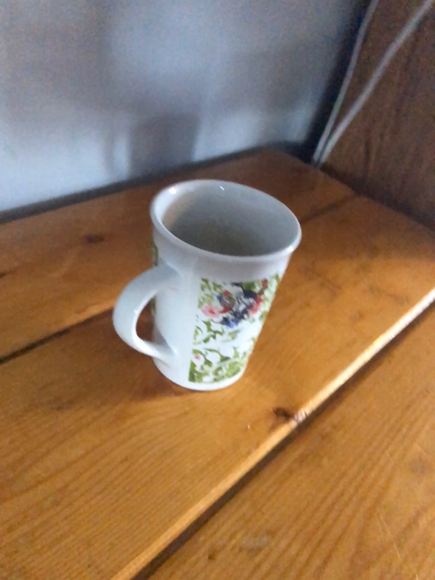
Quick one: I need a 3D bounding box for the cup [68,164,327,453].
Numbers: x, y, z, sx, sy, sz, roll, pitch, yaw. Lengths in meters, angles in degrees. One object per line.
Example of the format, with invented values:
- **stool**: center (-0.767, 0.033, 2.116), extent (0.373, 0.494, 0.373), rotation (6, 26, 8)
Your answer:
- **cup**: center (-0.016, 0.005, 0.321), extent (0.090, 0.120, 0.130), rotation (34, 42, 22)
